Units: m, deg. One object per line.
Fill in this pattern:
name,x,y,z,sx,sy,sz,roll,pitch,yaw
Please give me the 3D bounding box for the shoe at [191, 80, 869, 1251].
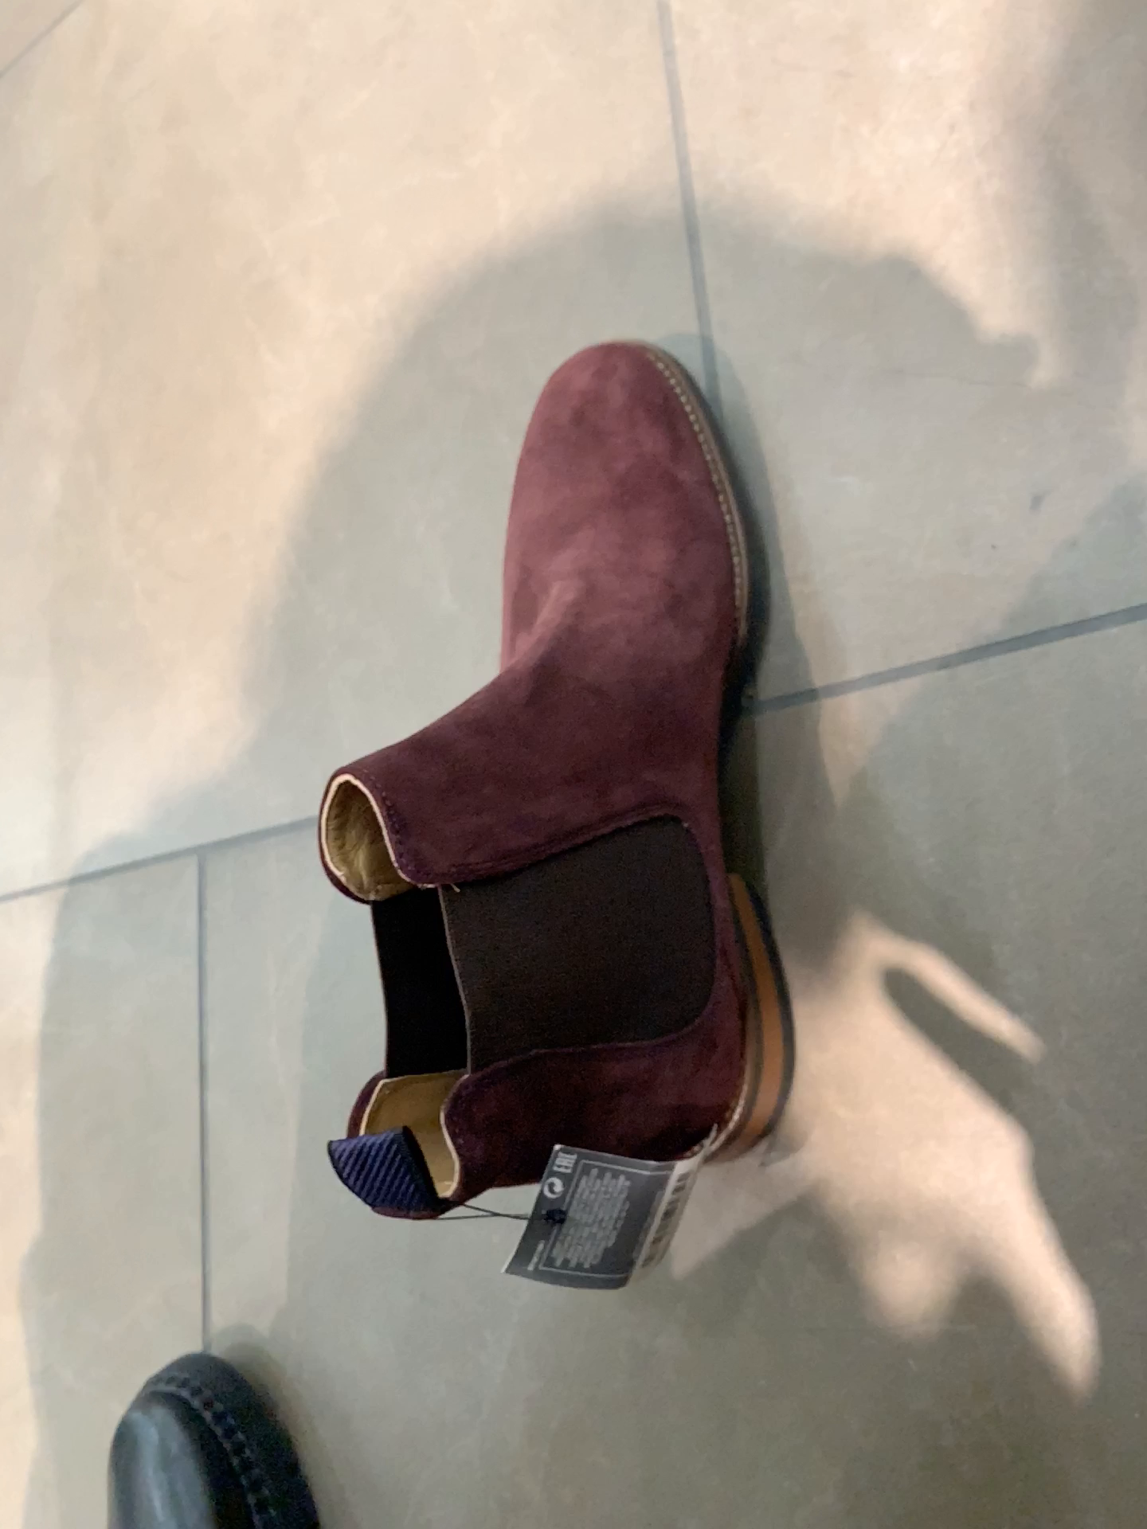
shoe,-0.015,-0.018,0.380,0.114,0.161,0.298,-16,72,32
